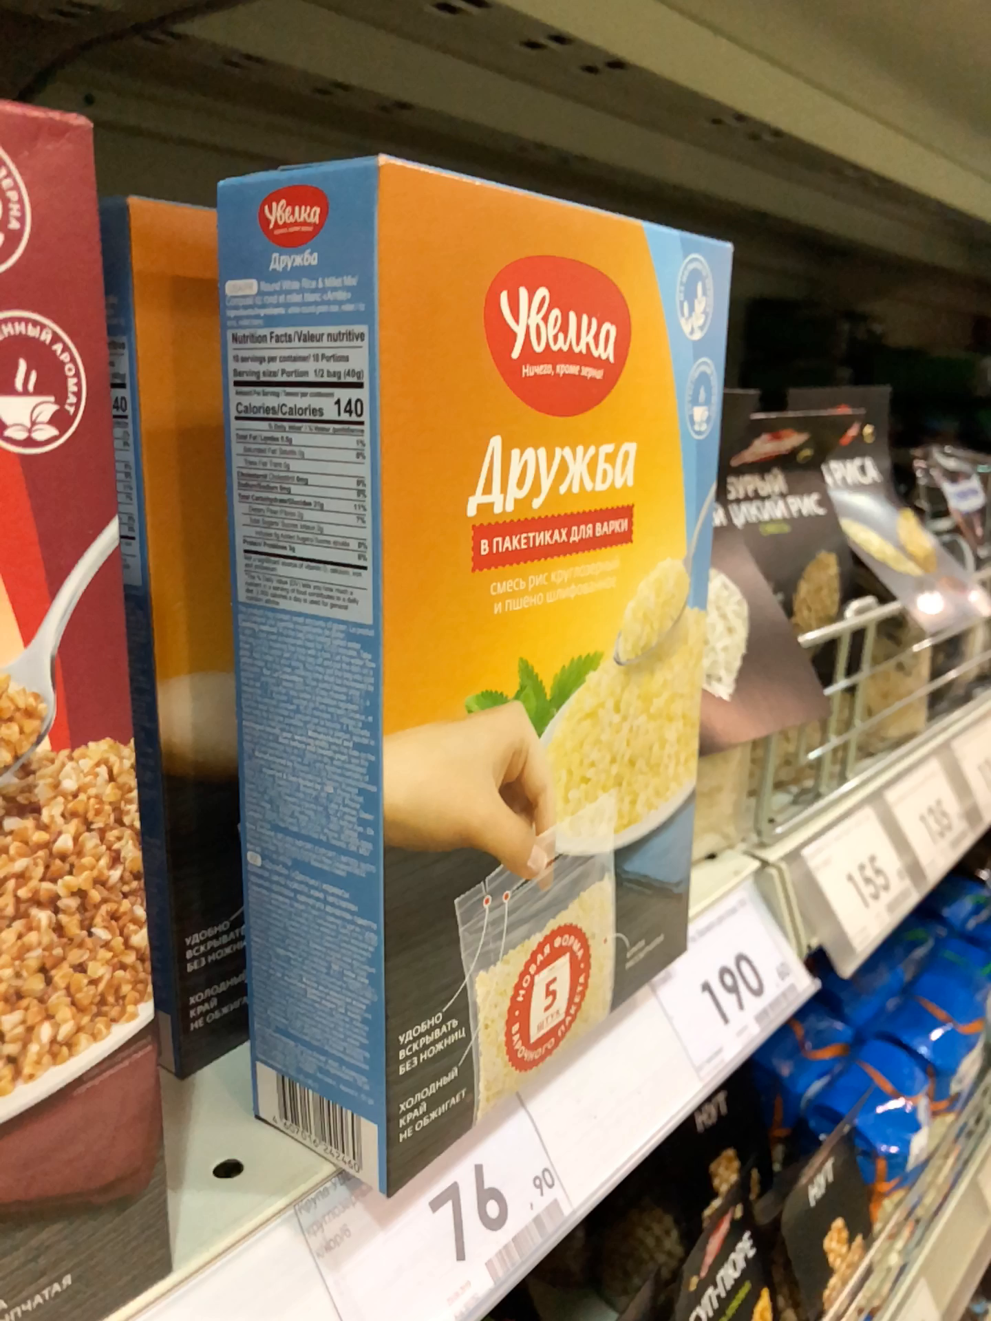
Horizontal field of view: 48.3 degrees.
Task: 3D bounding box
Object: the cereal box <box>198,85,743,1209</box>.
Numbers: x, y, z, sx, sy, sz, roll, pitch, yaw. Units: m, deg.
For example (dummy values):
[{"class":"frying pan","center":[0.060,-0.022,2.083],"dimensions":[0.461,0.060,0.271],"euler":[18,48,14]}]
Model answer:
[{"class":"cereal box","center":[0.003,-0.006,0.245],"dimensions":[0.040,0.189,0.130],"euler":[10,16,35]}]
